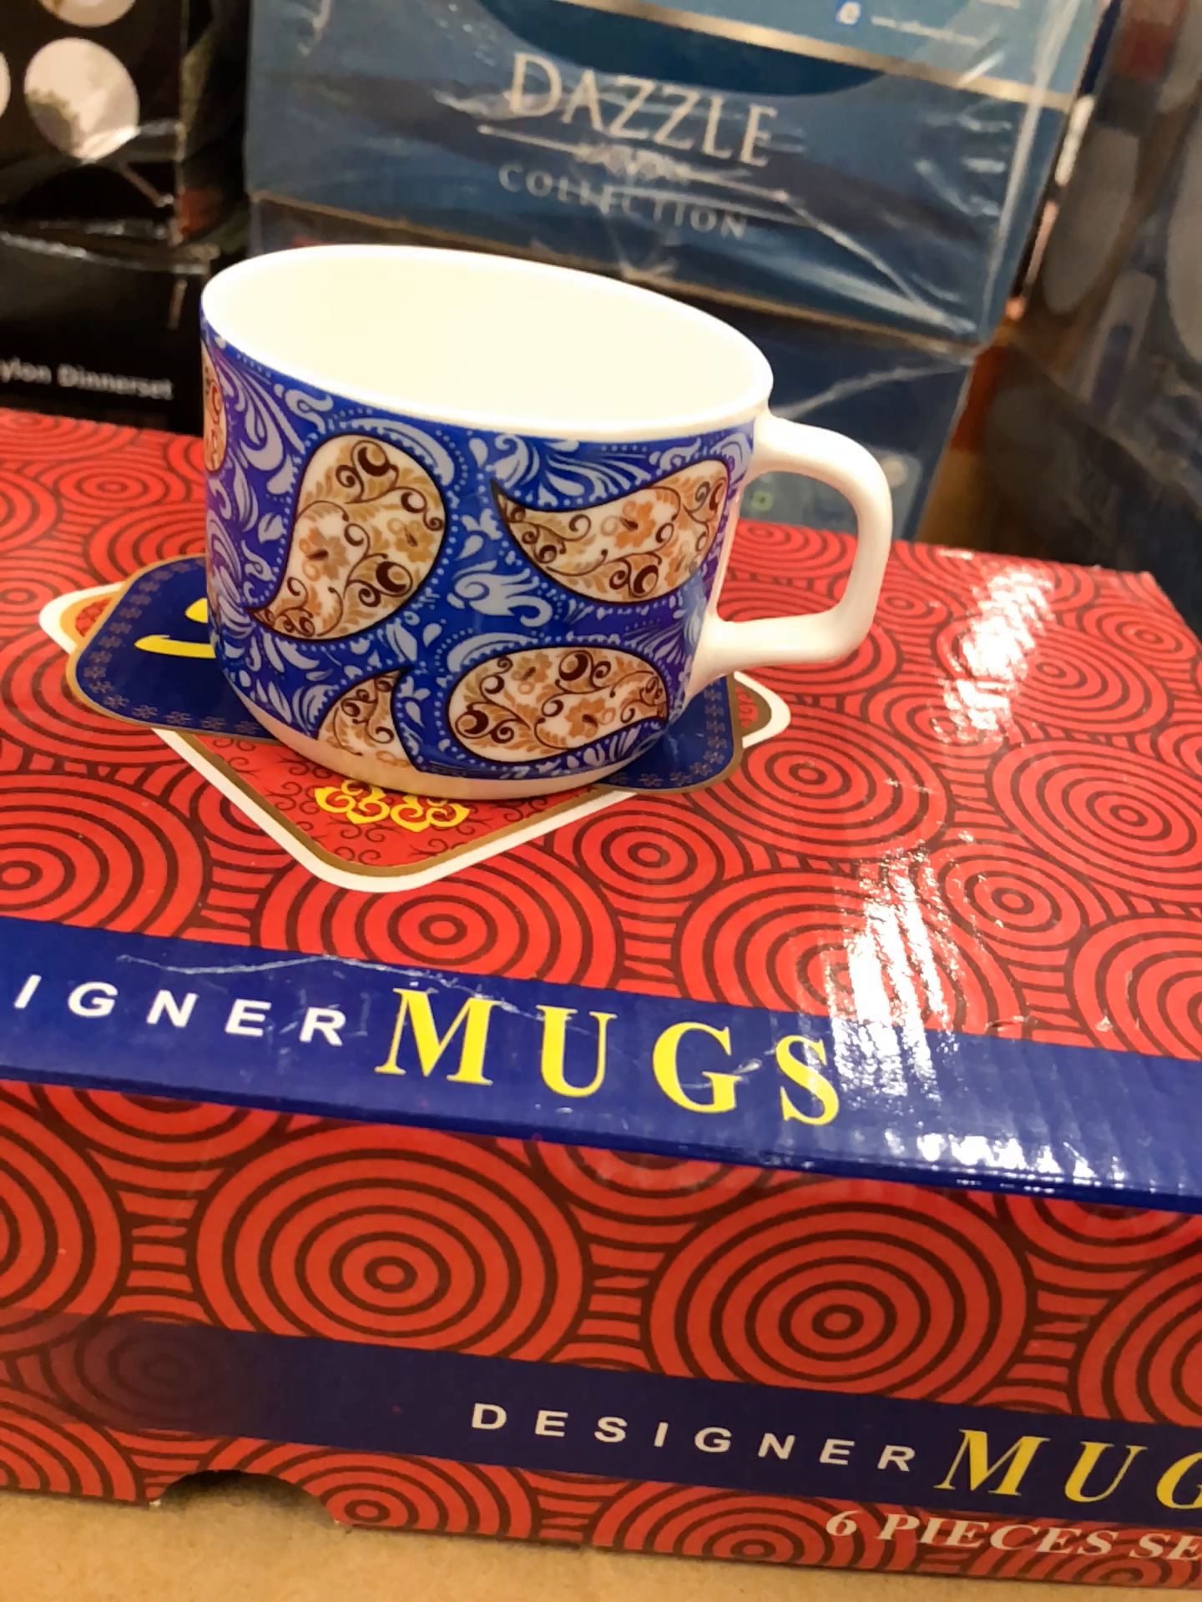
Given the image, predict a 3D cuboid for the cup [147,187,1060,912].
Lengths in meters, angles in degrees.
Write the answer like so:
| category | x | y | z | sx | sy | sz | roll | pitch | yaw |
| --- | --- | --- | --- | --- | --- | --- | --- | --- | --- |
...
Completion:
| category | x | y | z | sx | sy | sz | roll | pitch | yaw |
| --- | --- | --- | --- | --- | --- | --- | --- | --- | --- |
| cup | 0.000 | -0.040 | 0.190 | 0.100 | 0.060 | 0.070 | 13 | 31 | 2 |
